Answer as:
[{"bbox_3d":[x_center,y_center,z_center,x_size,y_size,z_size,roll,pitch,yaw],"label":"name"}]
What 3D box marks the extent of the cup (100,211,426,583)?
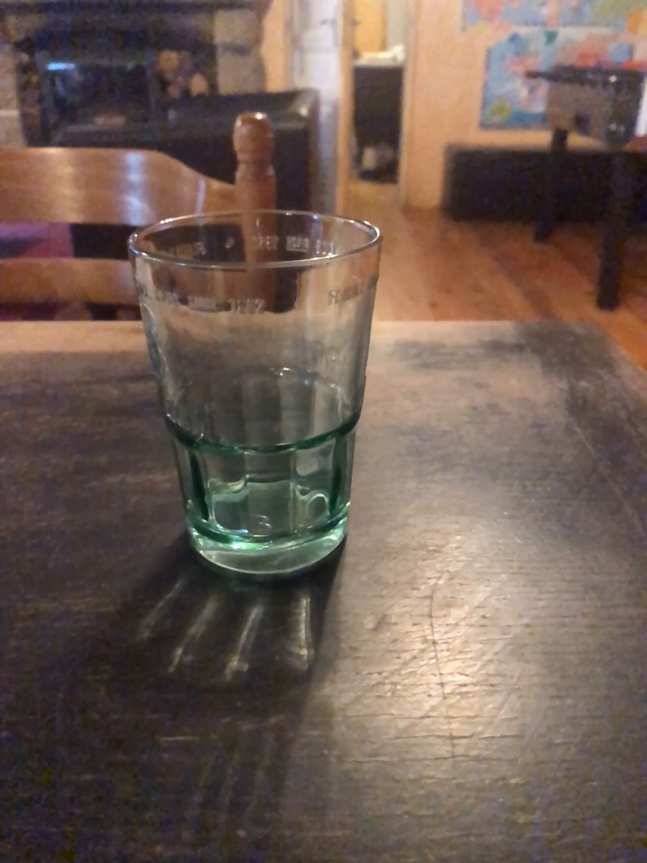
[{"bbox_3d":[-0.021,-0.017,0.256,0.089,0.103,0.083,0,27,0],"label":"cup"}]
